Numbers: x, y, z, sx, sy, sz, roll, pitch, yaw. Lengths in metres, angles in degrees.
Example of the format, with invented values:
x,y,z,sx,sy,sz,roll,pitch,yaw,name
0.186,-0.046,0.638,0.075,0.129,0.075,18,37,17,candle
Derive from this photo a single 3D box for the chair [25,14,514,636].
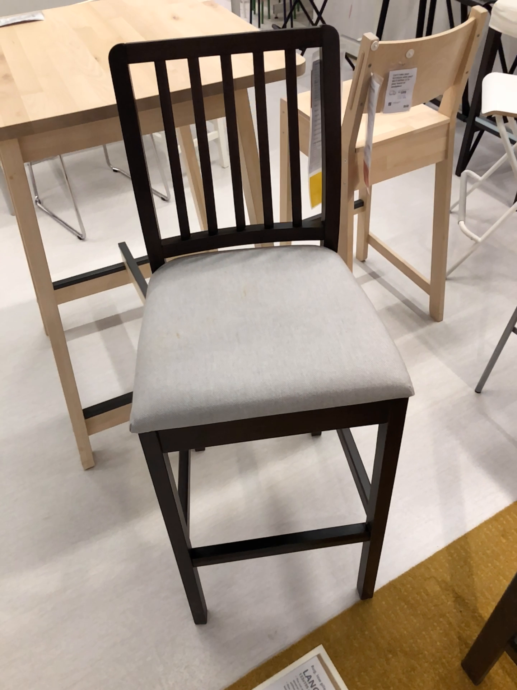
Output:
x,y,z,sx,sy,sz,roll,pitch,yaw,name
0.005,0.051,1.133,0.480,1.093,0.564,-7,44,-4,chair
